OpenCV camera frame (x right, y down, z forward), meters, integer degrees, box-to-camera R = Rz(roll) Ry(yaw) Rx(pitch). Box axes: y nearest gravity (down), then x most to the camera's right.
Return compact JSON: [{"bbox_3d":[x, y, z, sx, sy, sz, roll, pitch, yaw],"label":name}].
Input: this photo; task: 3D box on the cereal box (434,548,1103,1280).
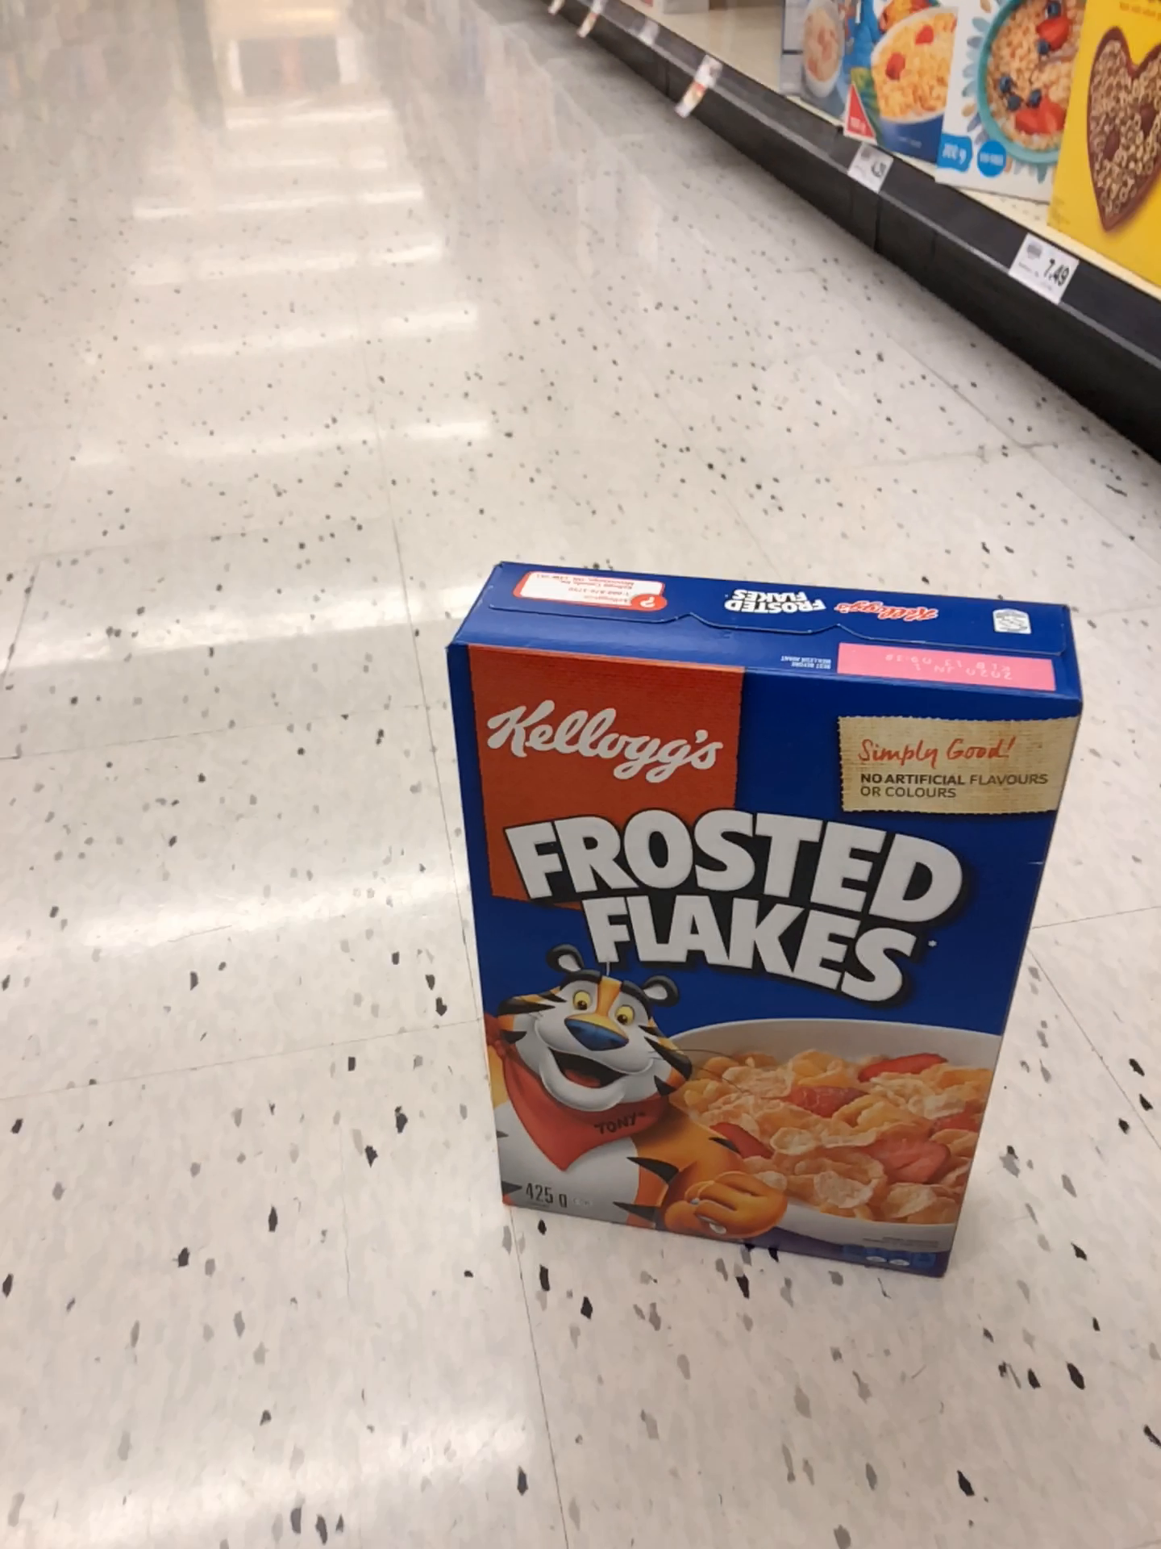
[{"bbox_3d":[0.062,0.066,0.497,0.200,0.288,0.070,6,38,10],"label":"cereal box"}]
